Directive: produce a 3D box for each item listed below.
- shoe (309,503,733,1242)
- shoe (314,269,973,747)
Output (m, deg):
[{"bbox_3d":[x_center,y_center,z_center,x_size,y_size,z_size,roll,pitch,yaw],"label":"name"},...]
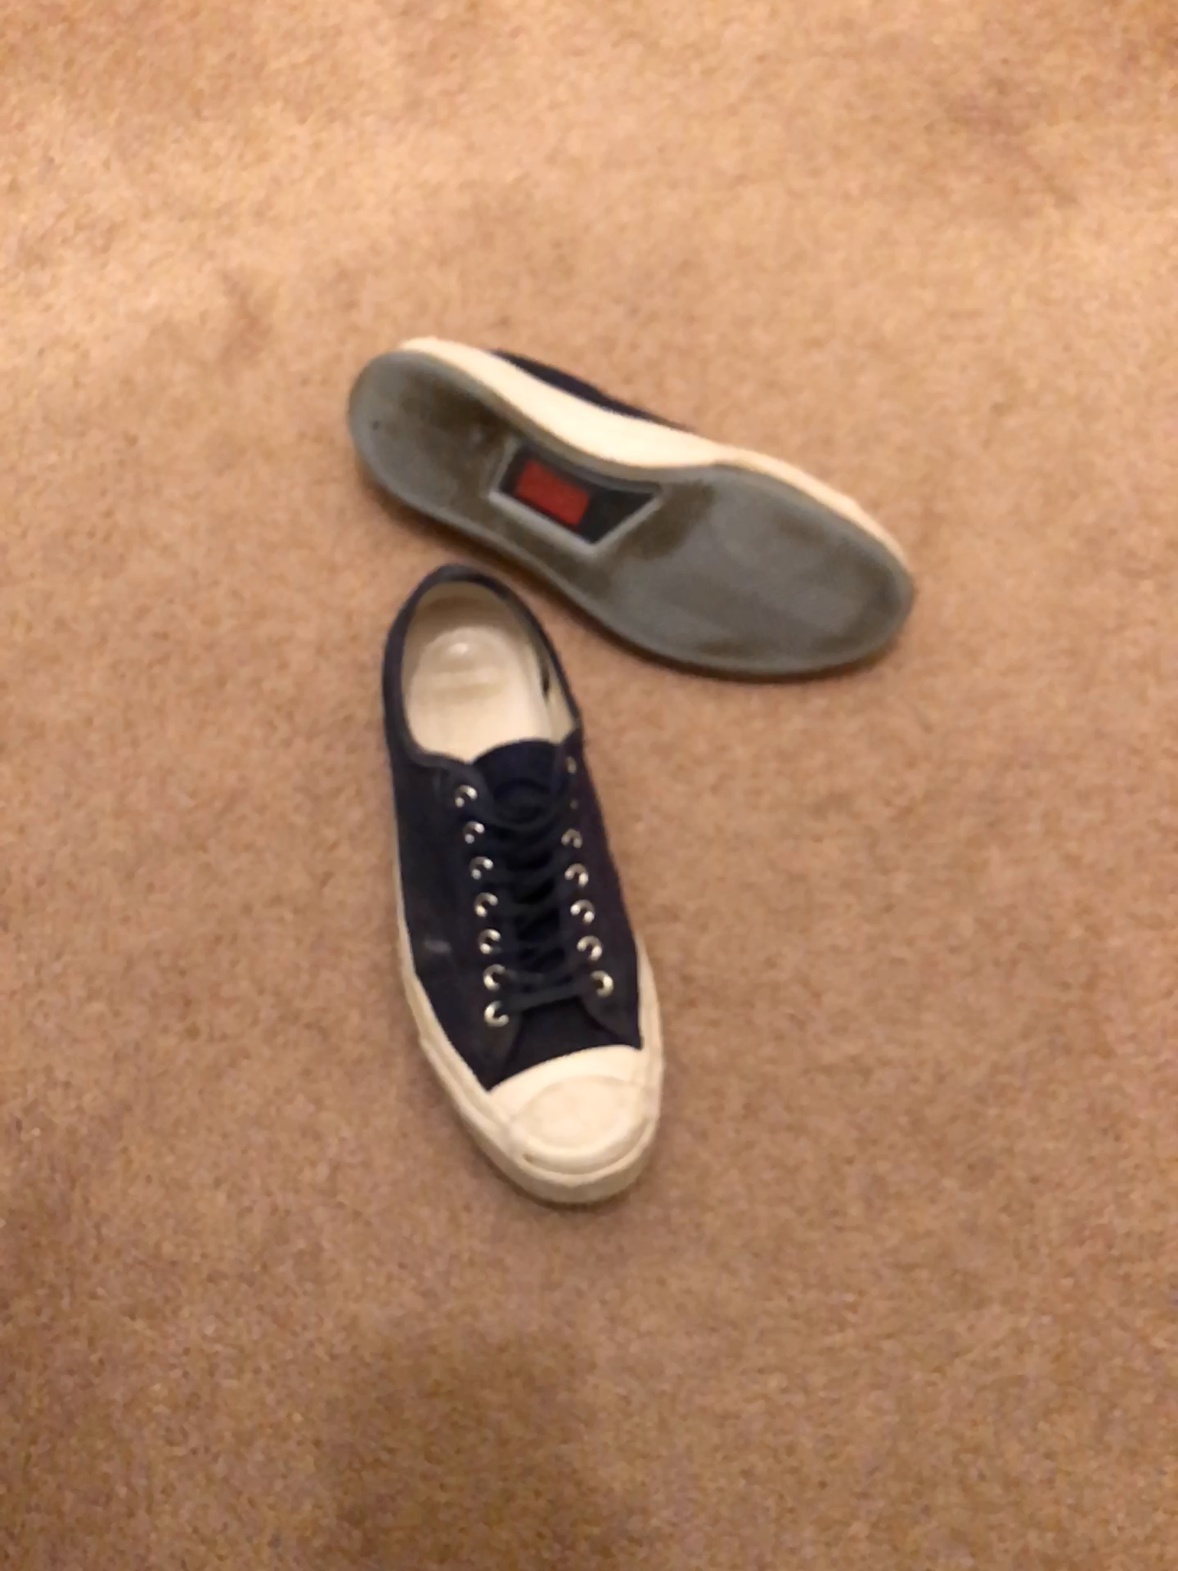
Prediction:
[{"bbox_3d":[-0.036,0.034,0.571,0.116,0.099,0.287,-11,69,-6],"label":"shoe"},{"bbox_3d":[0.024,-0.142,0.656,0.296,0.104,0.099,23,42,6],"label":"shoe"}]
